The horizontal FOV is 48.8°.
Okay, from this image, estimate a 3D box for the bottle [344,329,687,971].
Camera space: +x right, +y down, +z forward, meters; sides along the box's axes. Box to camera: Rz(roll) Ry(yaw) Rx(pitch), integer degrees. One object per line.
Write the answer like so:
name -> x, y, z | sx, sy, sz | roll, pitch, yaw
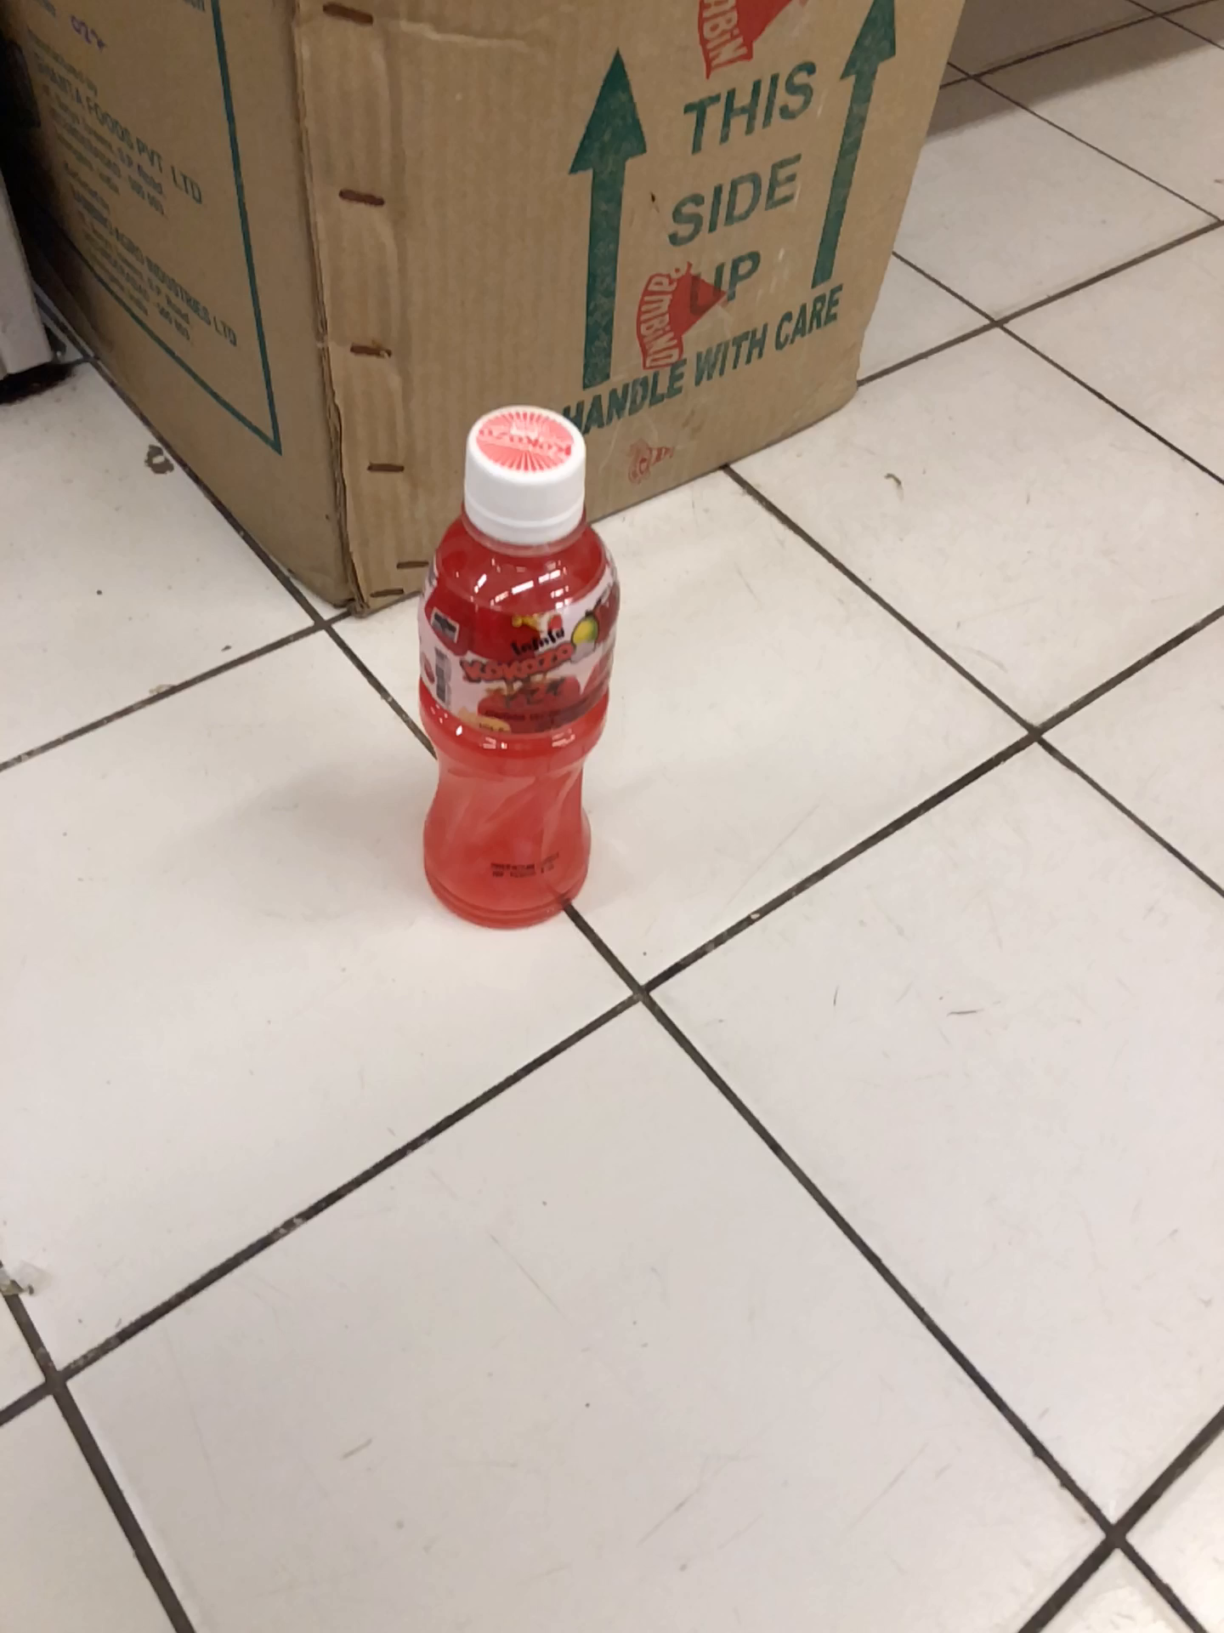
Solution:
bottle -> -0.032, -0.038, 0.401 | 0.060, 0.189, 0.060 | 3, 53, -4
